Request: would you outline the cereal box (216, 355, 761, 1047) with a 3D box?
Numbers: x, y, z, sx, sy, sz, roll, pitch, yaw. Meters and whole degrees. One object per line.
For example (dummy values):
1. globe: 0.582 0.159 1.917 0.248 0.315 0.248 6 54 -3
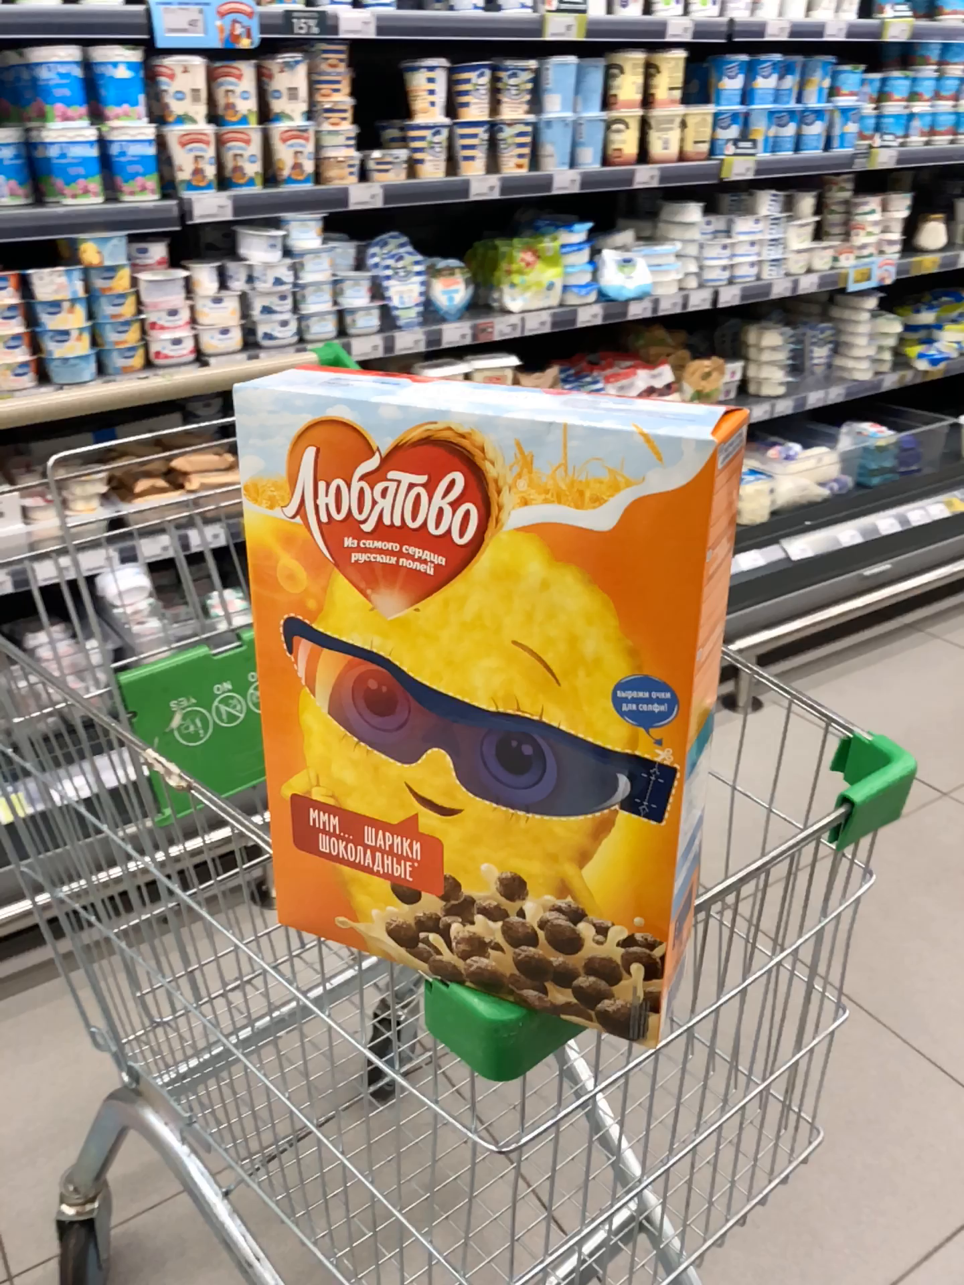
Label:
1. cereal box: -0.003 0.023 0.446 0.200 0.259 0.050 11 26 22
